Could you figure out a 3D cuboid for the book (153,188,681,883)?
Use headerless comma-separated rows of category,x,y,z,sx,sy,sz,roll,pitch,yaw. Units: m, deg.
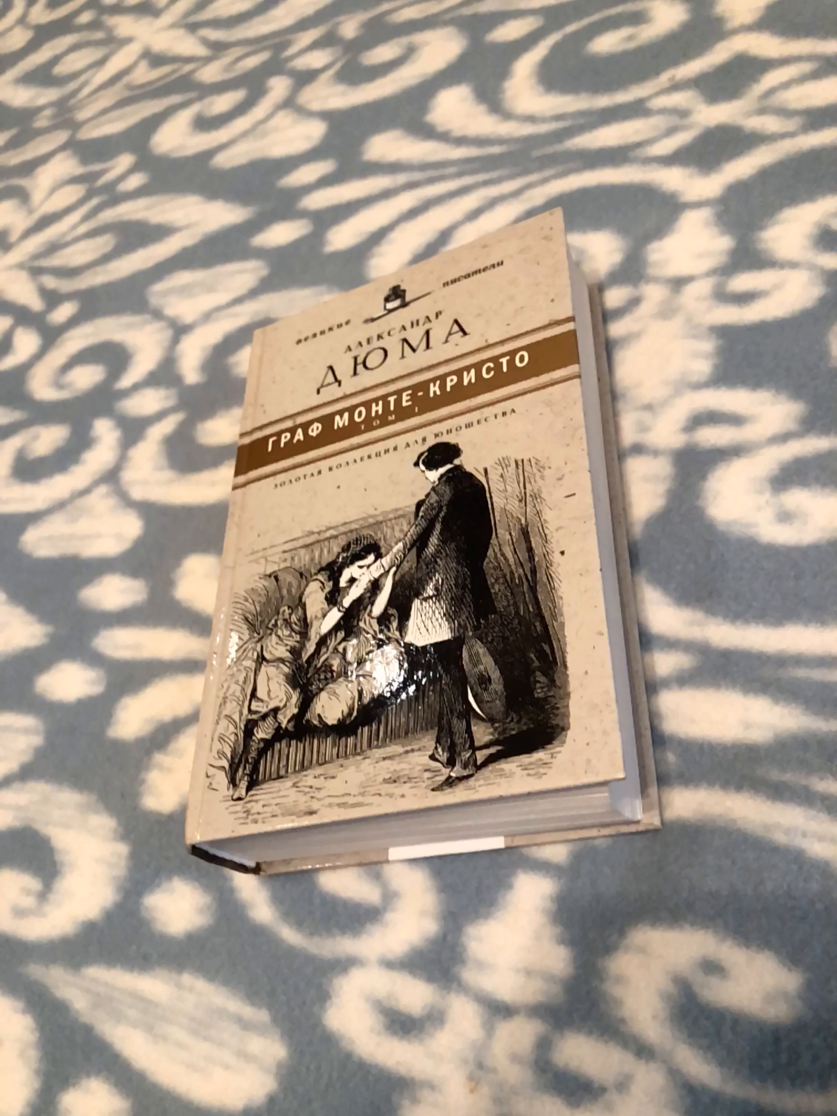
book,-0.003,-0.014,0.307,0.138,0.040,0.212,-15,54,22
